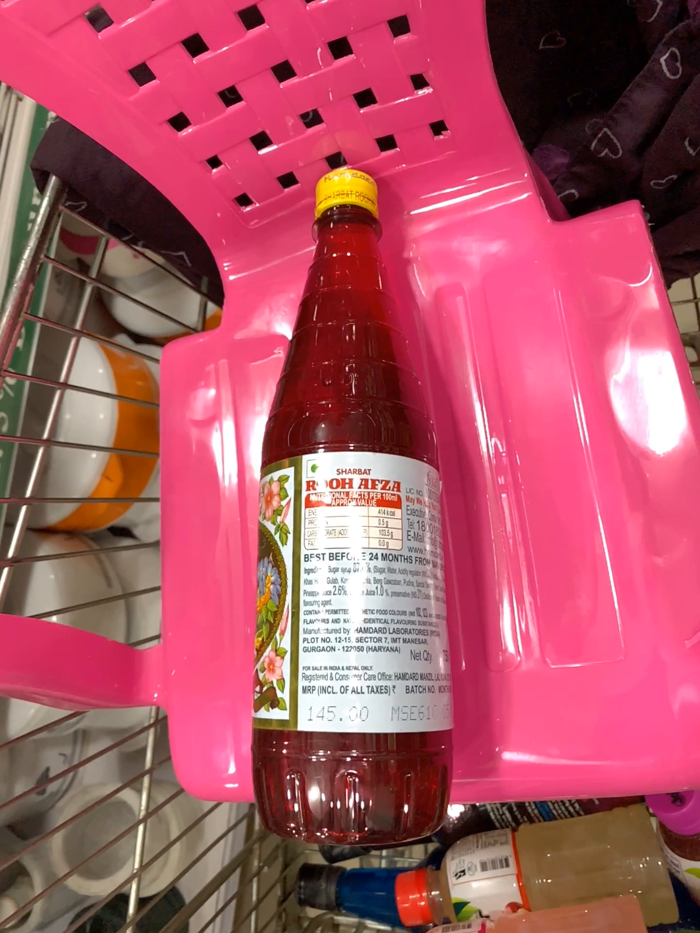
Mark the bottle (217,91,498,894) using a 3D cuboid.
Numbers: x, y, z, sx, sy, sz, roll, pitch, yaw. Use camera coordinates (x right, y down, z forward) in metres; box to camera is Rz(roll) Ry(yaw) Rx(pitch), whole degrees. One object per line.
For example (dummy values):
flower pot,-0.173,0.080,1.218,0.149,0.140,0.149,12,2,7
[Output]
bottle,0.001,0.003,0.265,0.080,0.060,0.260,-4,79,7
